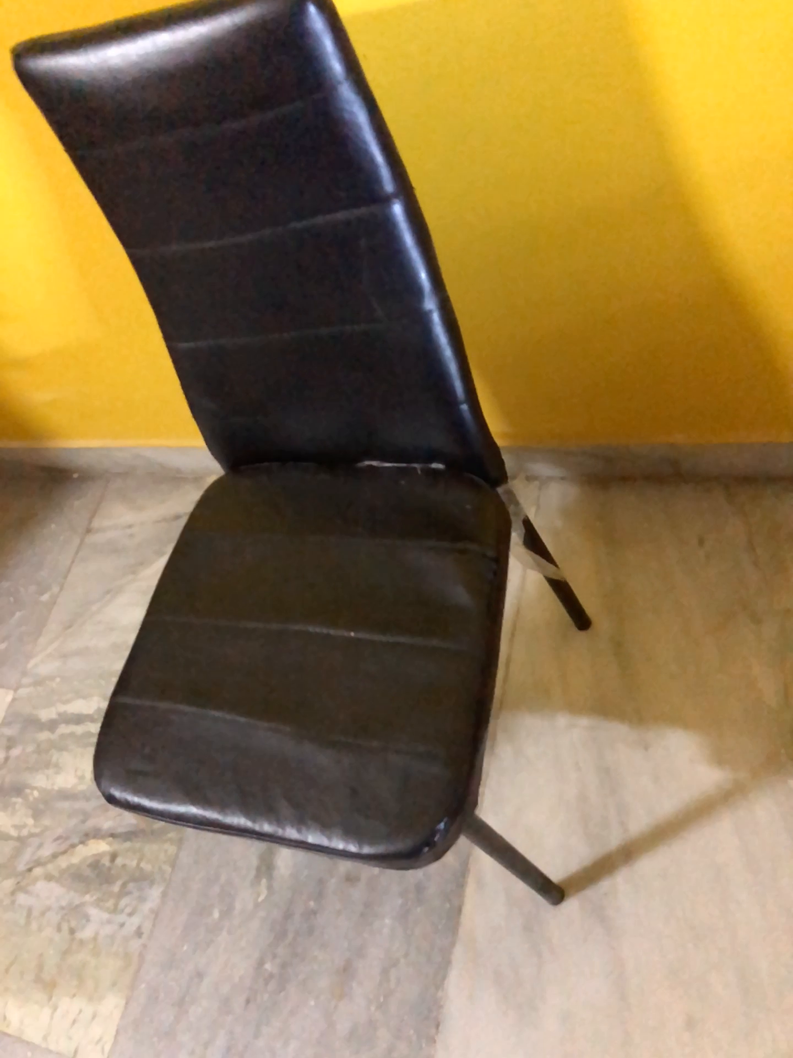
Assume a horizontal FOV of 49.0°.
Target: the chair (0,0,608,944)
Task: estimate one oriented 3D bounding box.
[{"bbox_3d":[-0.130,0.042,0.925,0.481,0.906,0.532,3,61,26],"label":"chair"}]
